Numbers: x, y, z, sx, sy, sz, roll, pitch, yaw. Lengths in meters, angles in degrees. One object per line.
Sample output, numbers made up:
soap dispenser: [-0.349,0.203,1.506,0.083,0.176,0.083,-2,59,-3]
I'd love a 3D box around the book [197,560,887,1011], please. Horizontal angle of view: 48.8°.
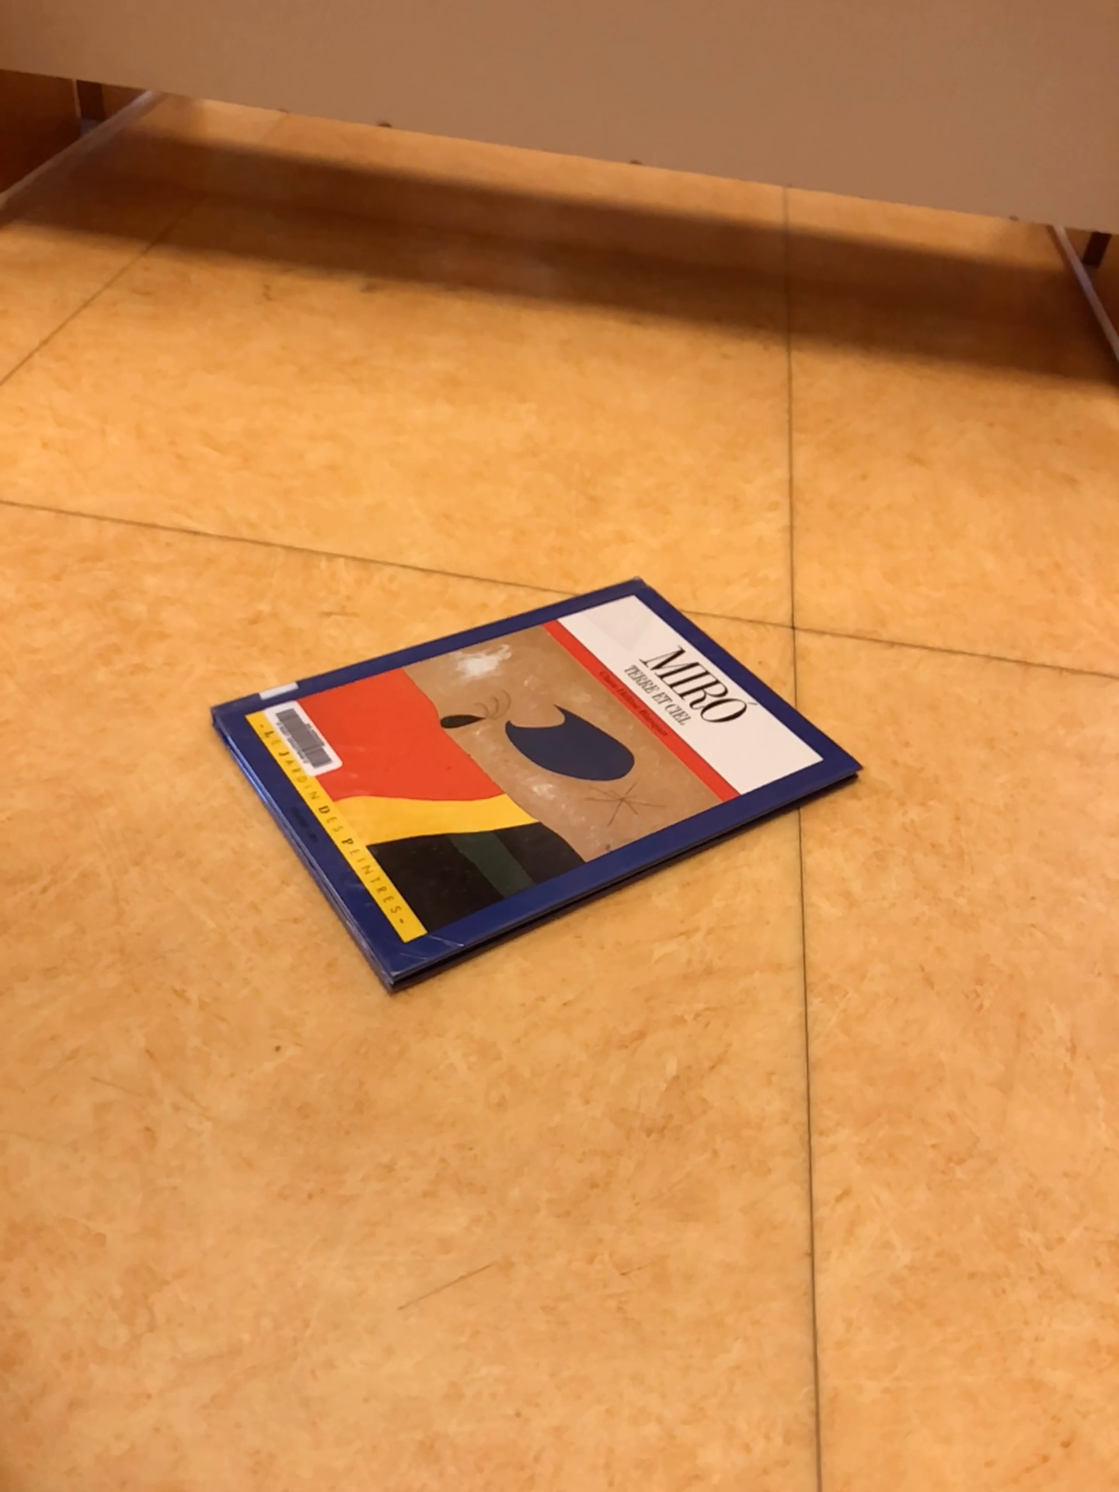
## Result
book: [-0.007,-0.002,0.543,0.246,0.020,0.177,-20,48,-29]
